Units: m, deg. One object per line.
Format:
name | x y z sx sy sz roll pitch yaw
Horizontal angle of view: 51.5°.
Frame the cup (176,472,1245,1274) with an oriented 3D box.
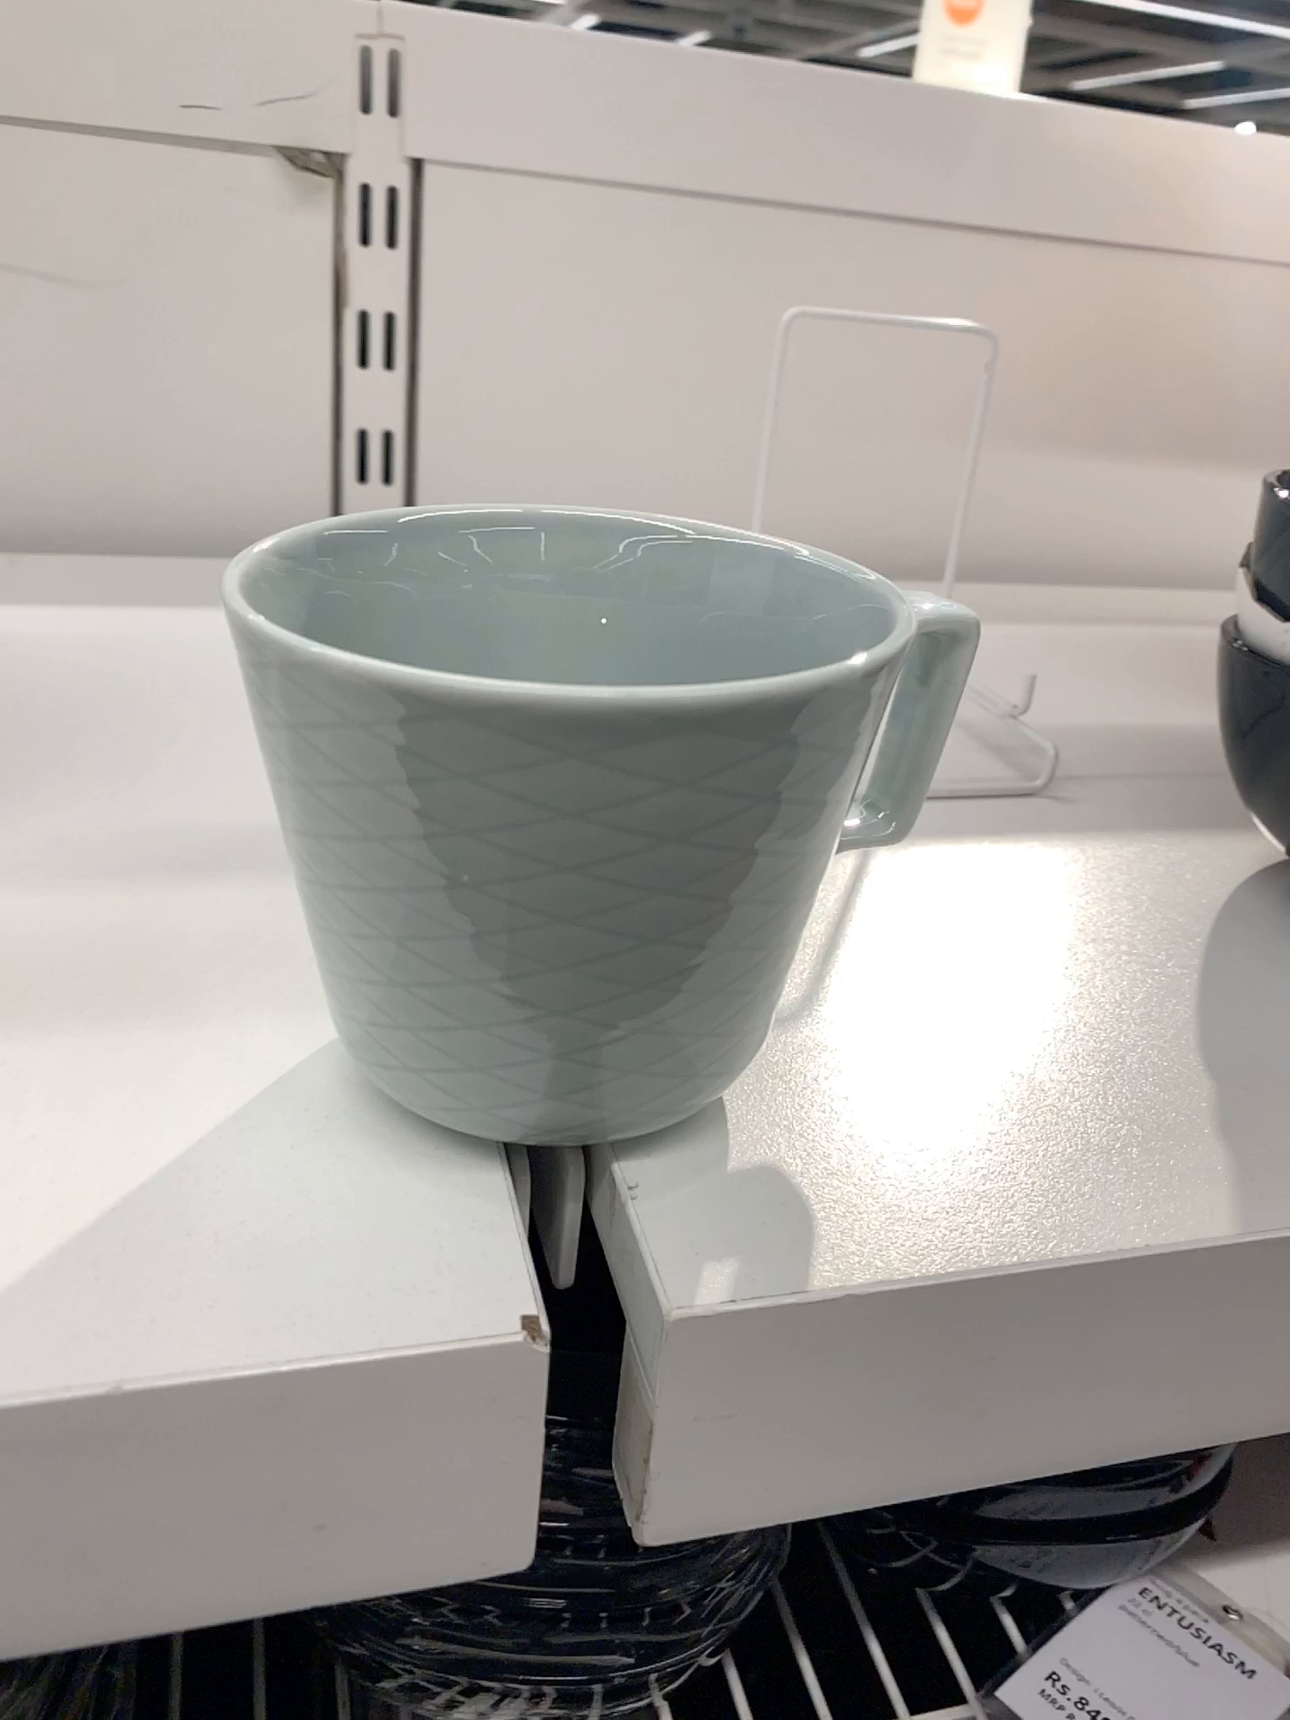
cup | 0.011 -0.016 0.216 0.130 0.070 0.100 -17 33 -41
